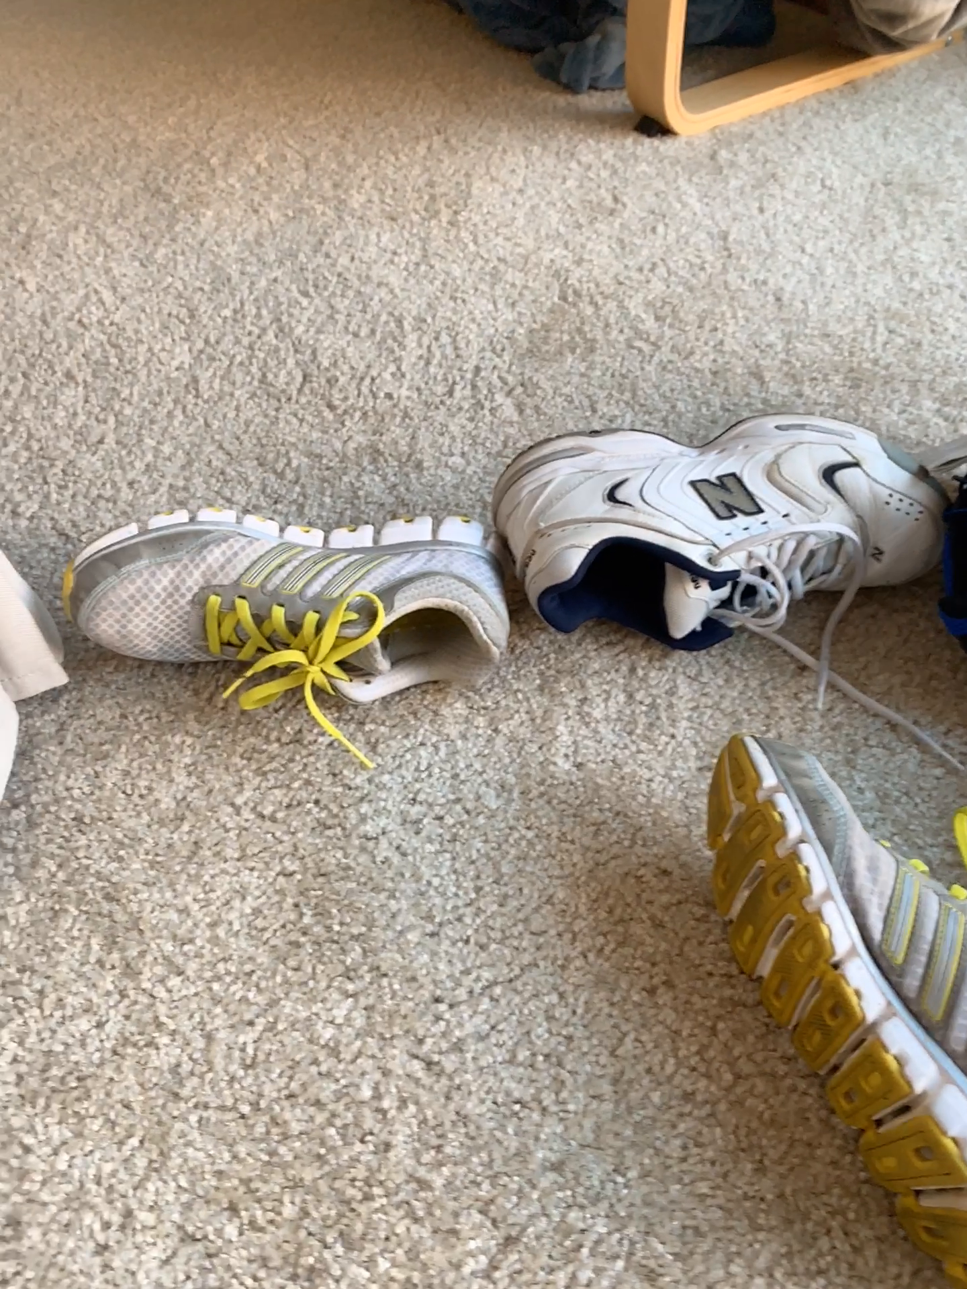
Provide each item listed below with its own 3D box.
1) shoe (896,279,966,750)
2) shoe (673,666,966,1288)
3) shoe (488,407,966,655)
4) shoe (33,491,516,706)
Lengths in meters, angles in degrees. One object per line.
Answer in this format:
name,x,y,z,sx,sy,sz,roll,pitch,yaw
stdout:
shoe,0.330,-0.086,0.596,0.120,0.090,0.261,33,50,-13
shoe,0.180,0.128,0.385,0.100,0.090,0.221,-12,50,-18
shoe,0.149,-0.069,0.595,0.280,0.100,0.100,-2,51,-5
shoe,-0.103,-0.026,0.536,0.230,0.080,0.080,-1,41,-5
